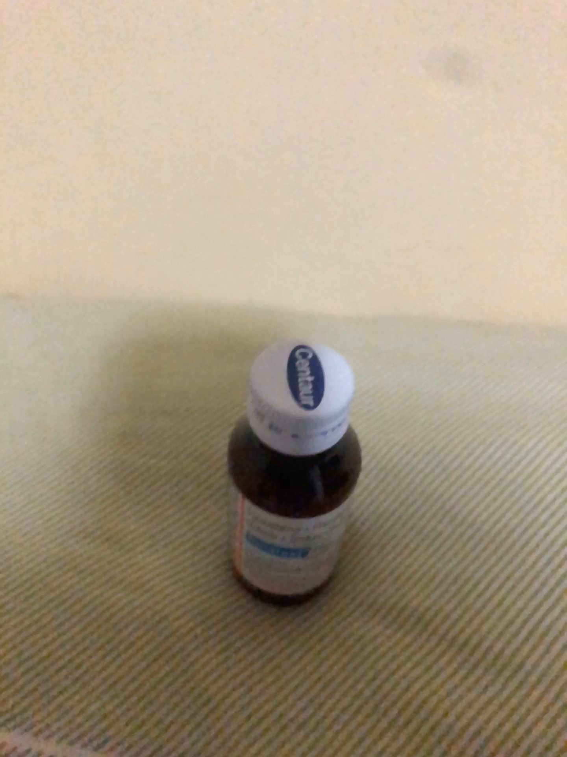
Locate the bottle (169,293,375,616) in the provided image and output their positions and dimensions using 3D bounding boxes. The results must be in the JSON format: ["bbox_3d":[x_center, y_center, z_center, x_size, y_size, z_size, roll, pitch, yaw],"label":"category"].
[{"bbox_3d":[-0.002,0.028,0.188,0.040,0.100,0.037,0,50,0],"label":"bottle"}]
